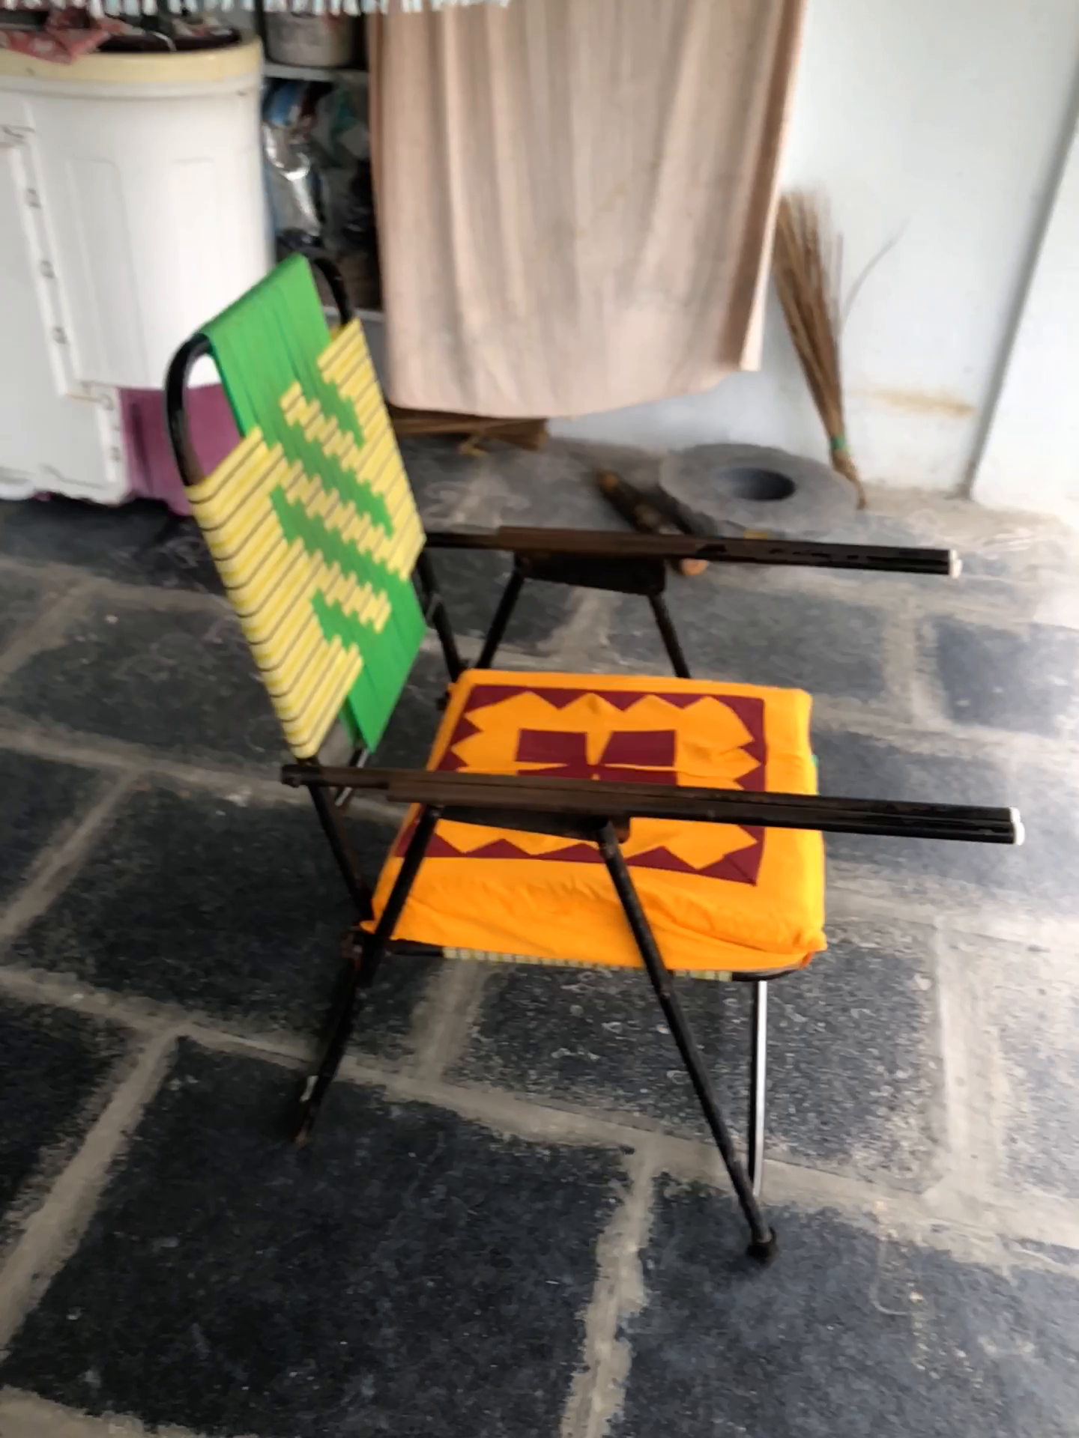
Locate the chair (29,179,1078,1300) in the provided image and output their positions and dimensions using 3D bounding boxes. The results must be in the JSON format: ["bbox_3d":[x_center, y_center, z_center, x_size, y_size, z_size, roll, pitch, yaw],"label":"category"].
[{"bbox_3d":[0.056,-0.011,1.207,0.680,0.826,0.664,7,35,6],"label":"chair"}]
